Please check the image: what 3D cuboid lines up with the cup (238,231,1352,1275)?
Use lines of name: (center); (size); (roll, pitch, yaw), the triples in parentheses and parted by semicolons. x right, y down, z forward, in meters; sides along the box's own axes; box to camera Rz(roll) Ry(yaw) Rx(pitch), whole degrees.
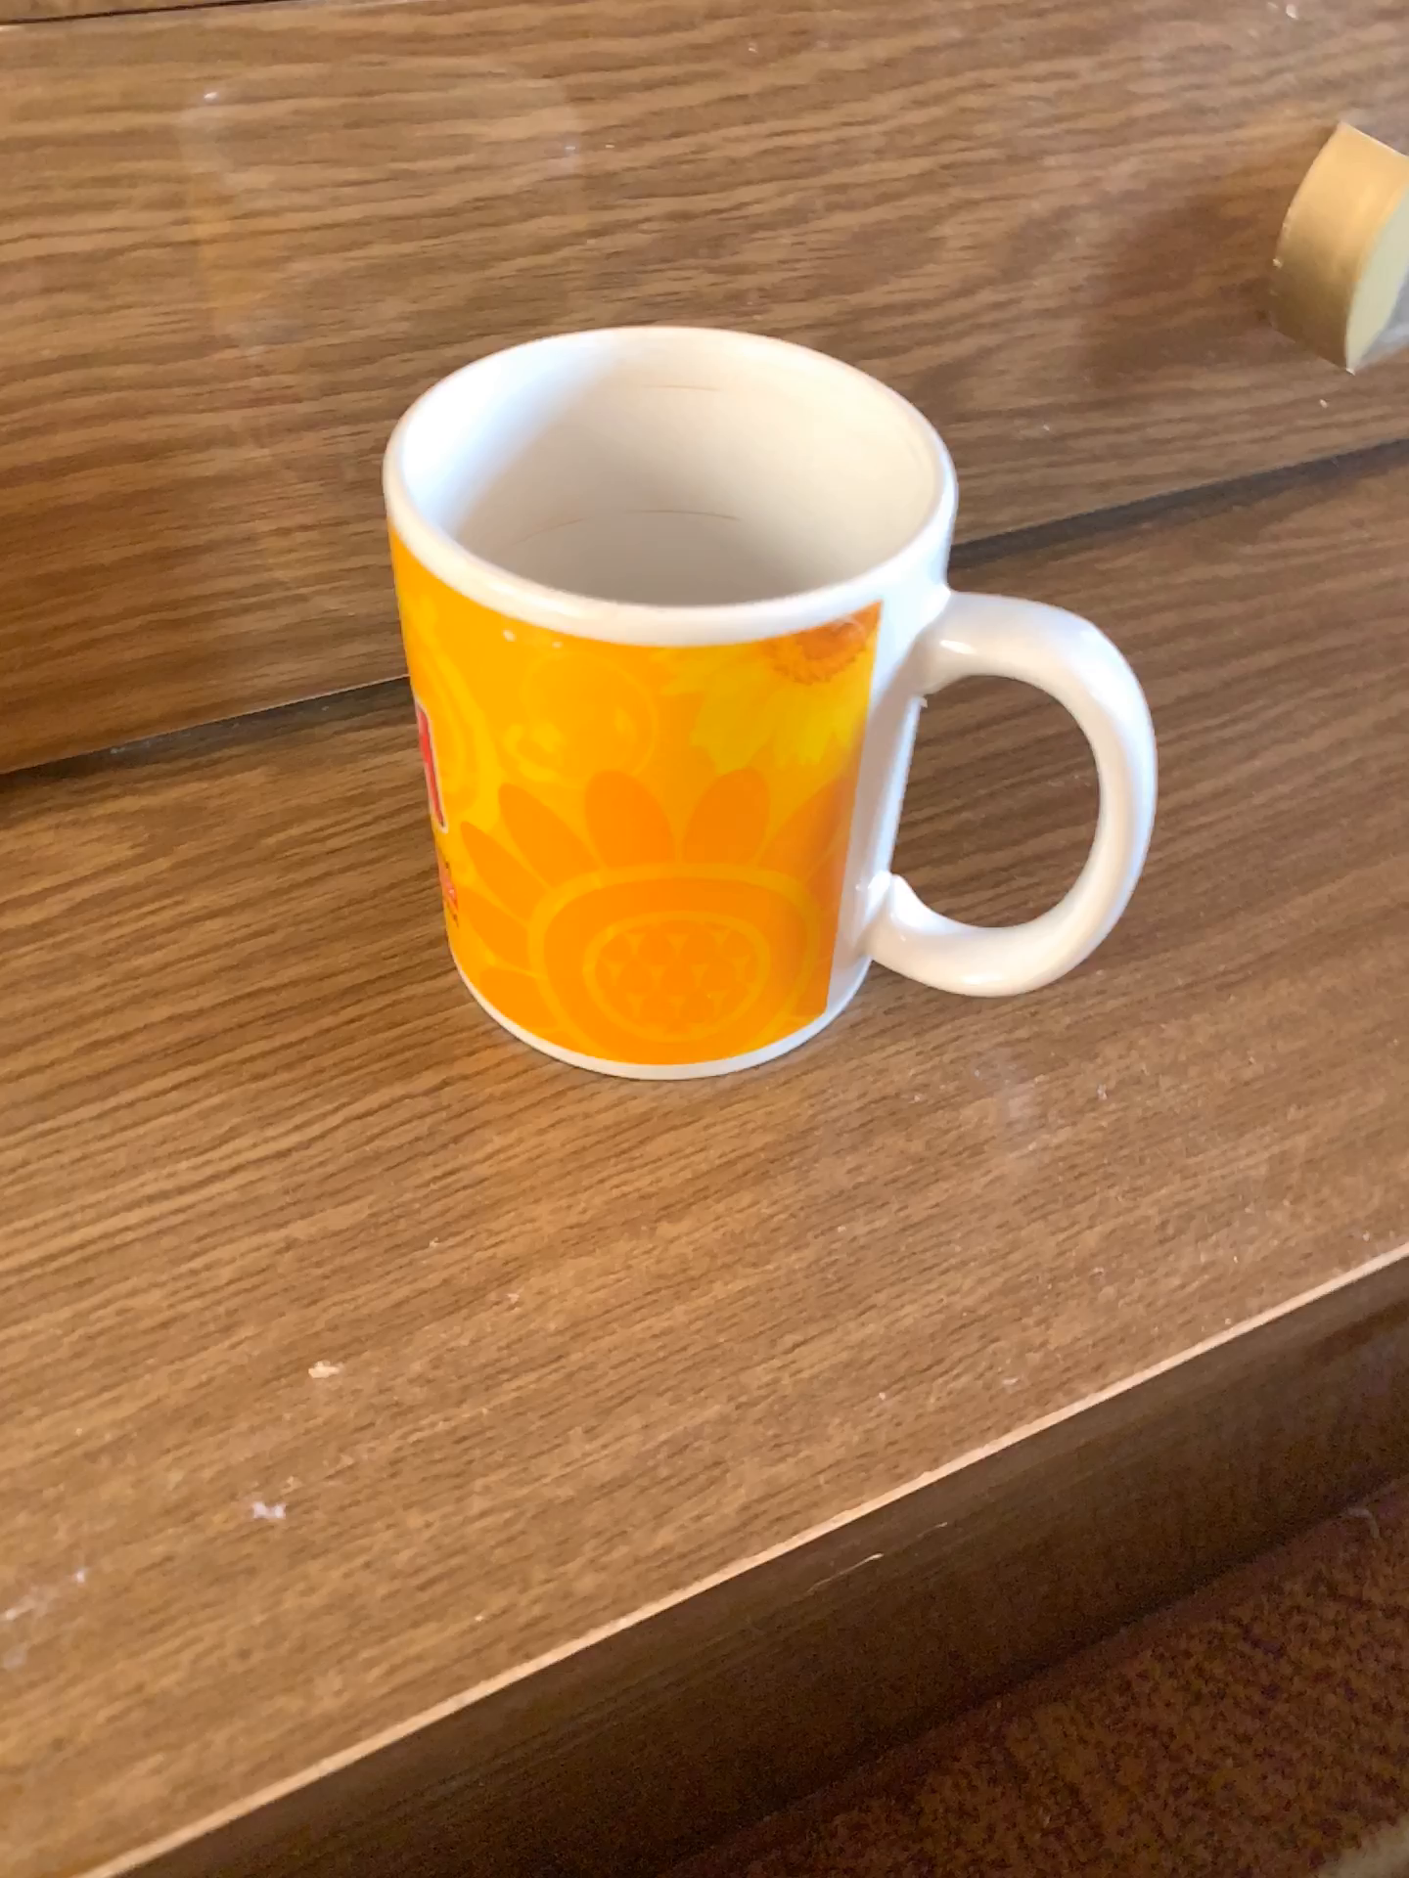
cup: (0.015, -0.032, 0.229); (0.123, 0.097, 0.091); (20, 49, 14)
